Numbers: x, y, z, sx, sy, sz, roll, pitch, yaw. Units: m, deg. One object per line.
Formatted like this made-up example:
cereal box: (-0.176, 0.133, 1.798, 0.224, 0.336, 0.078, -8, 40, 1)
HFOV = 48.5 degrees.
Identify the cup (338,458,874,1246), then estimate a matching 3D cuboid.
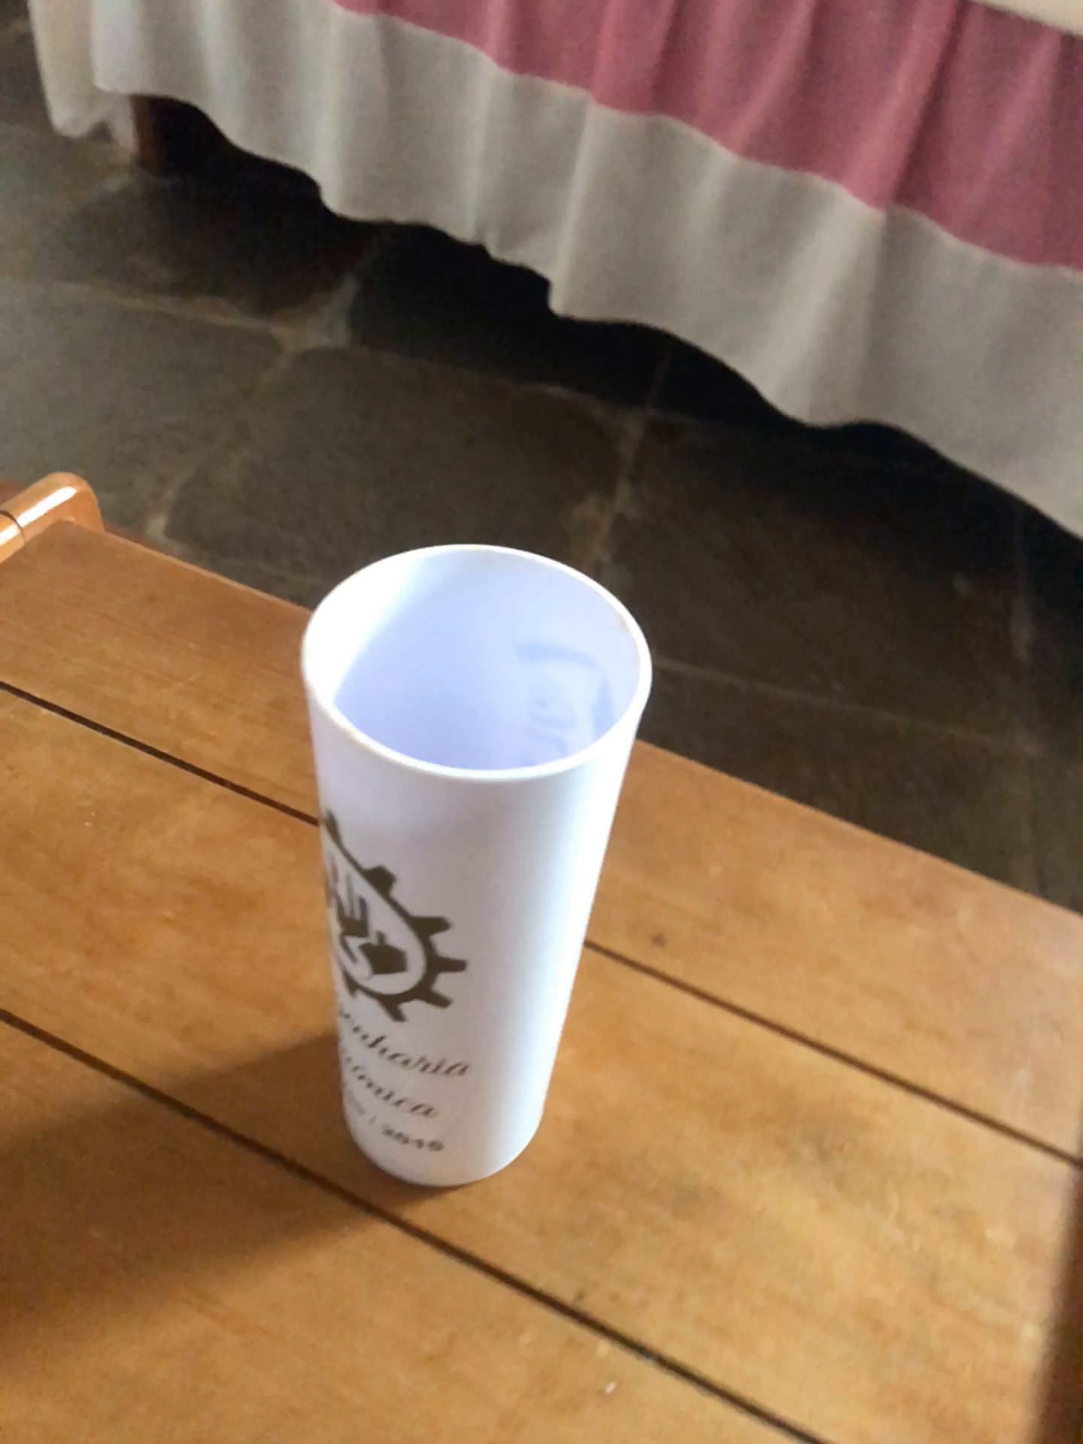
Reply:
cup: (0.006, 0.037, 0.271, 0.070, 0.159, 0.070, 4, 45, -4)
